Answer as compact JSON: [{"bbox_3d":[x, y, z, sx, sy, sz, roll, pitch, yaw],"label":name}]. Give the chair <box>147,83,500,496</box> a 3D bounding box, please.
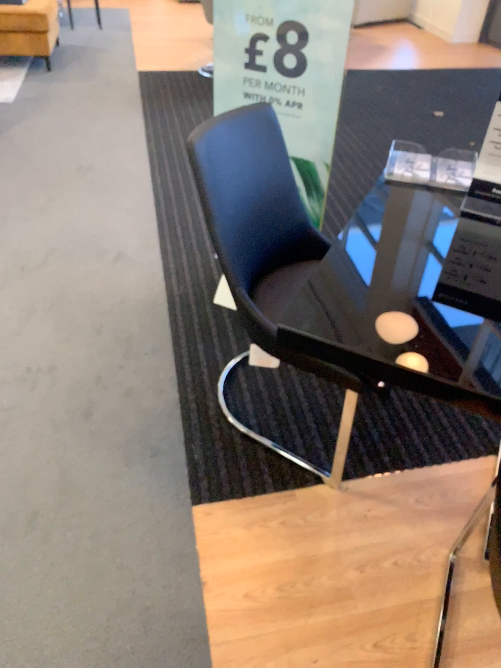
[{"bbox_3d":[0.162,-0.132,1.417,0.611,0.811,0.534,25,45,23],"label":"chair"}]
